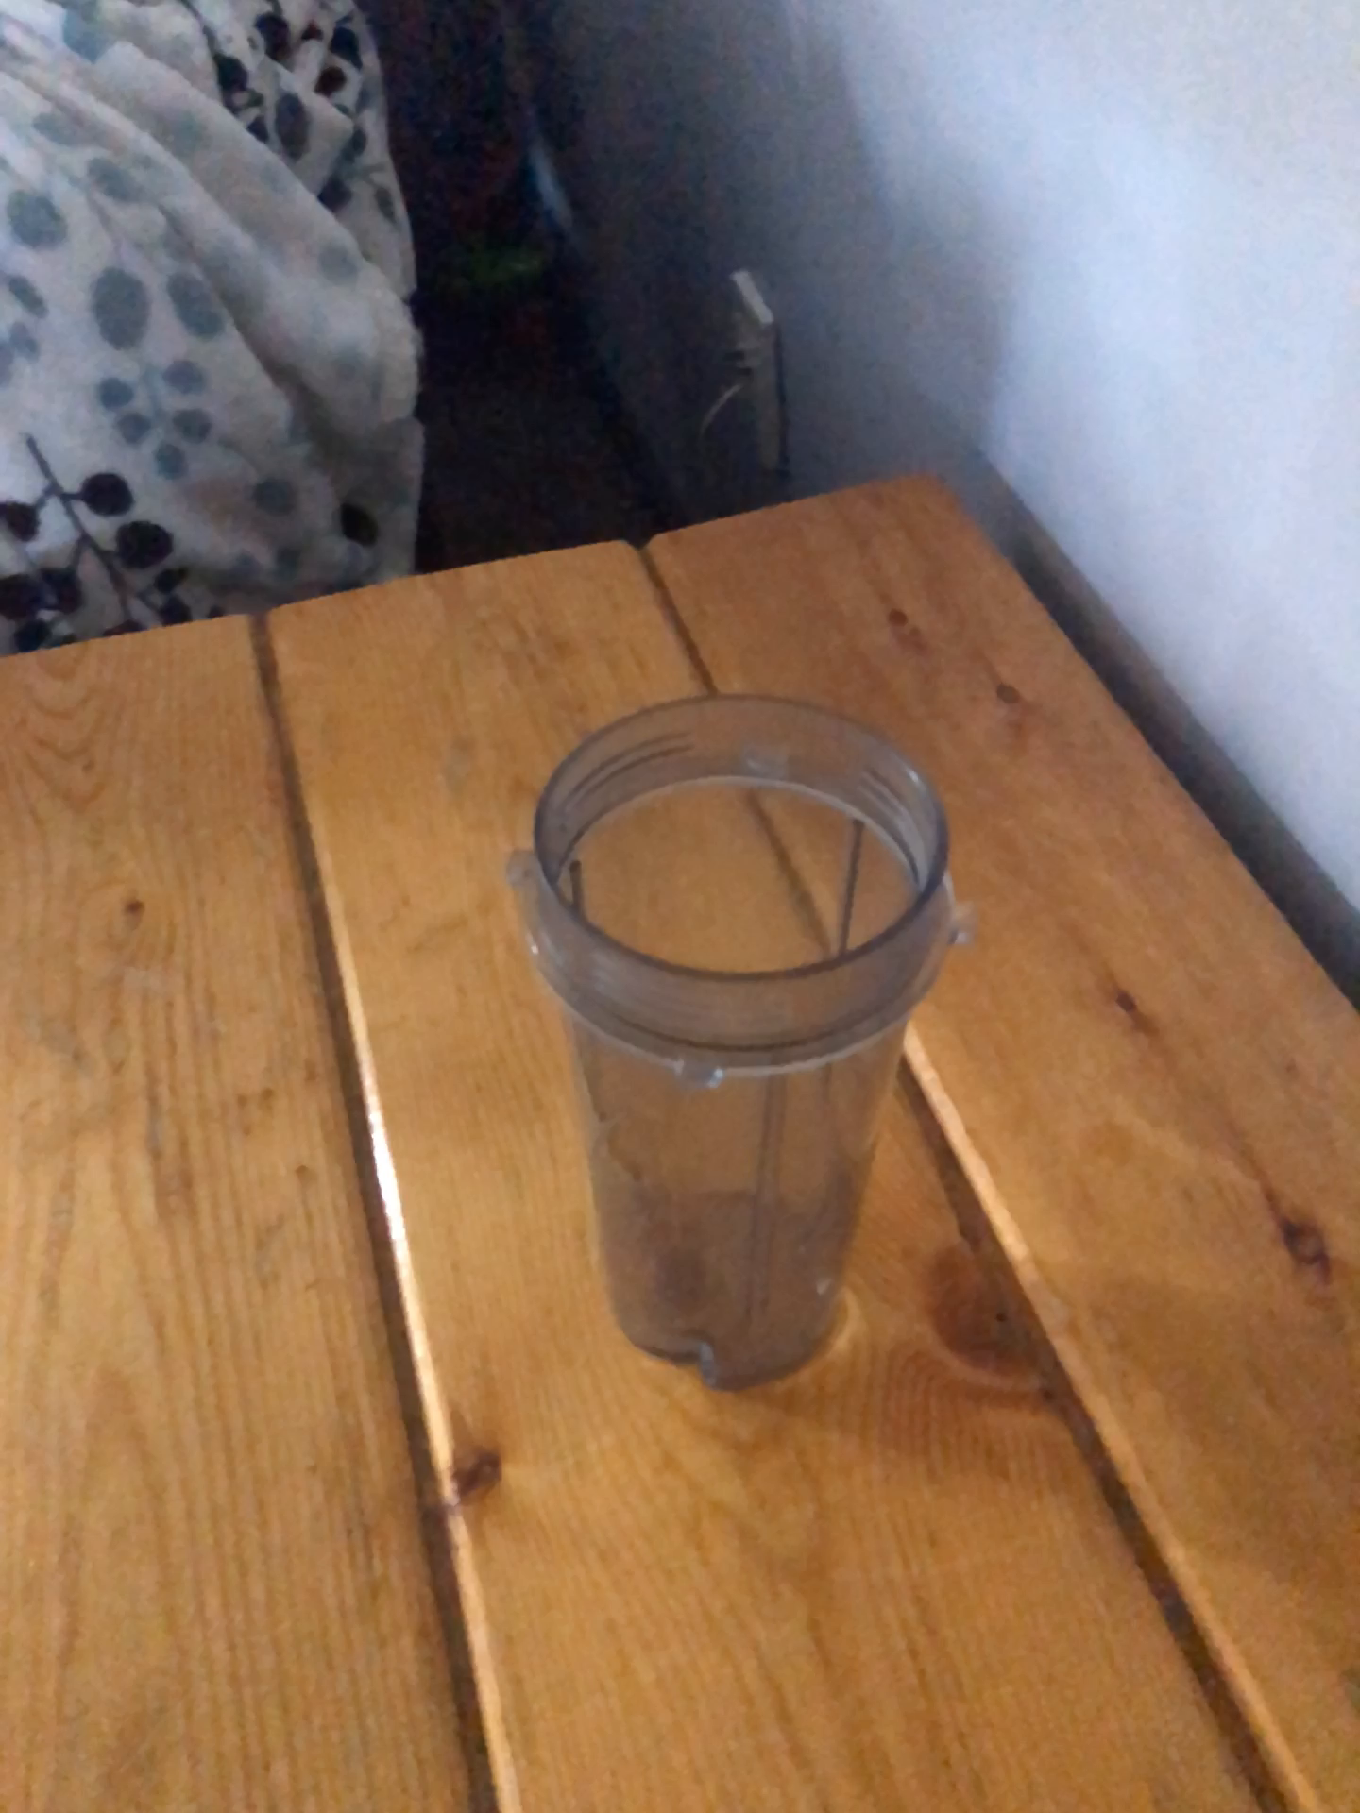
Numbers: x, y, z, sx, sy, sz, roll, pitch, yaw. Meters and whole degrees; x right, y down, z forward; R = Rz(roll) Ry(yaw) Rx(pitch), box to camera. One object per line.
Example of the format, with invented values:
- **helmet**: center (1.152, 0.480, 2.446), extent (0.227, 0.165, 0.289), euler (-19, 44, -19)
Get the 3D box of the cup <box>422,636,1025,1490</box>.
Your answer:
- **cup**: center (0.010, 0.047, 0.358), extent (0.090, 0.189, 0.080), euler (-21, 50, -15)
